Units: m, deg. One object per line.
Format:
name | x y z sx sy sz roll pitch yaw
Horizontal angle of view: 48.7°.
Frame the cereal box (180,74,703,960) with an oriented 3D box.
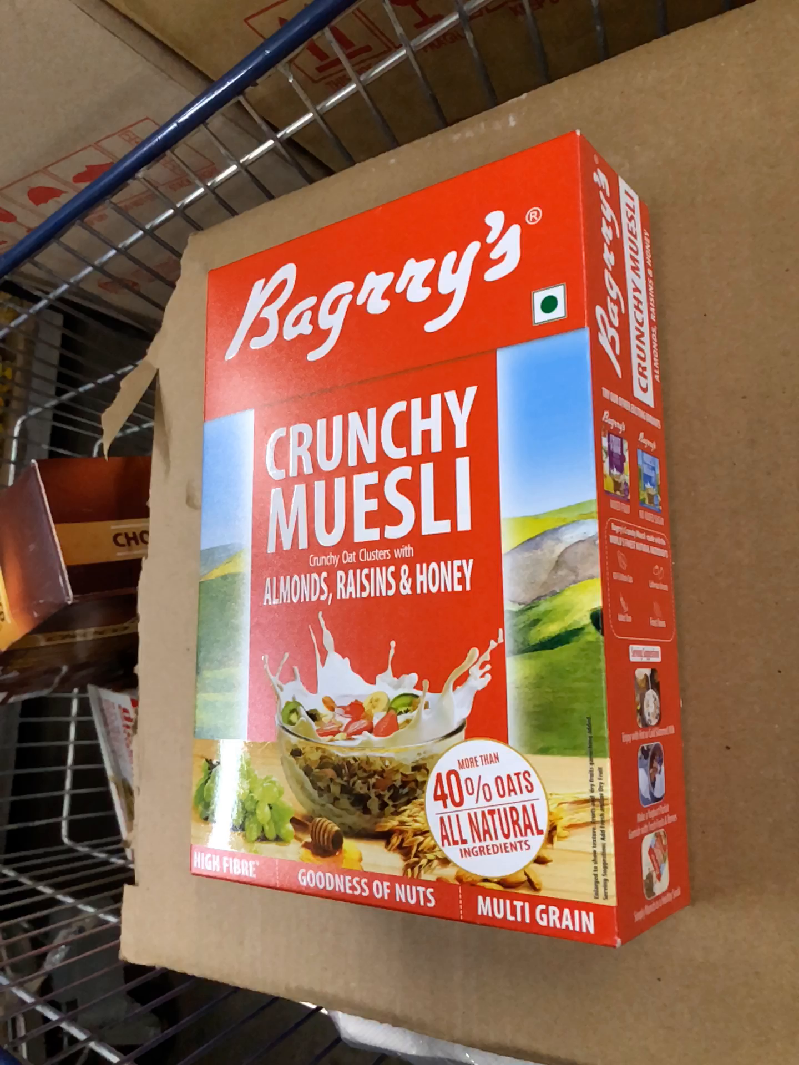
cereal box | 0.005 -0.002 0.337 0.181 0.070 0.260 -7 80 36
